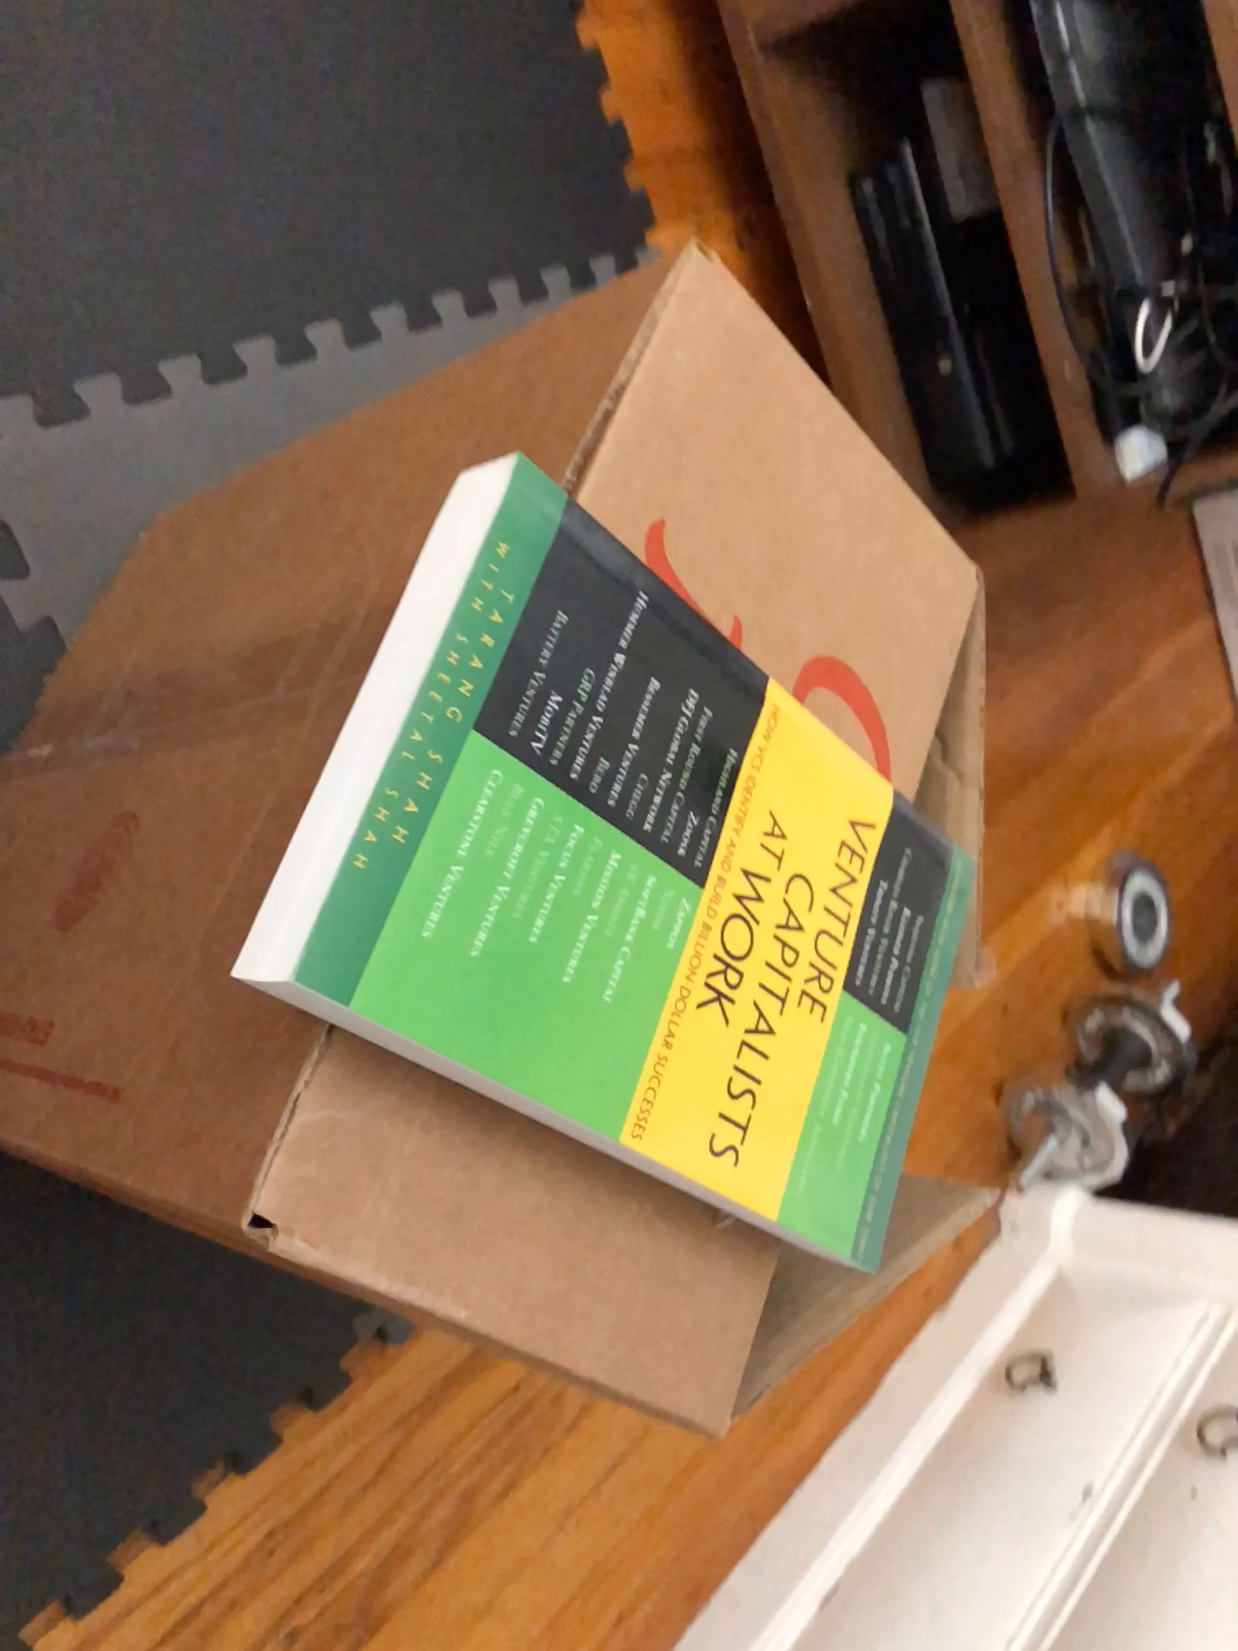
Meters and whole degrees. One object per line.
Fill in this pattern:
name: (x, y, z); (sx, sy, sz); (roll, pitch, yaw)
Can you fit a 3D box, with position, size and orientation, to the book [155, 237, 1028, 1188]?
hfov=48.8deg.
book: (0.020, -0.015, 0.402); (0.261, 0.040, 0.160); (35, 64, -34)
